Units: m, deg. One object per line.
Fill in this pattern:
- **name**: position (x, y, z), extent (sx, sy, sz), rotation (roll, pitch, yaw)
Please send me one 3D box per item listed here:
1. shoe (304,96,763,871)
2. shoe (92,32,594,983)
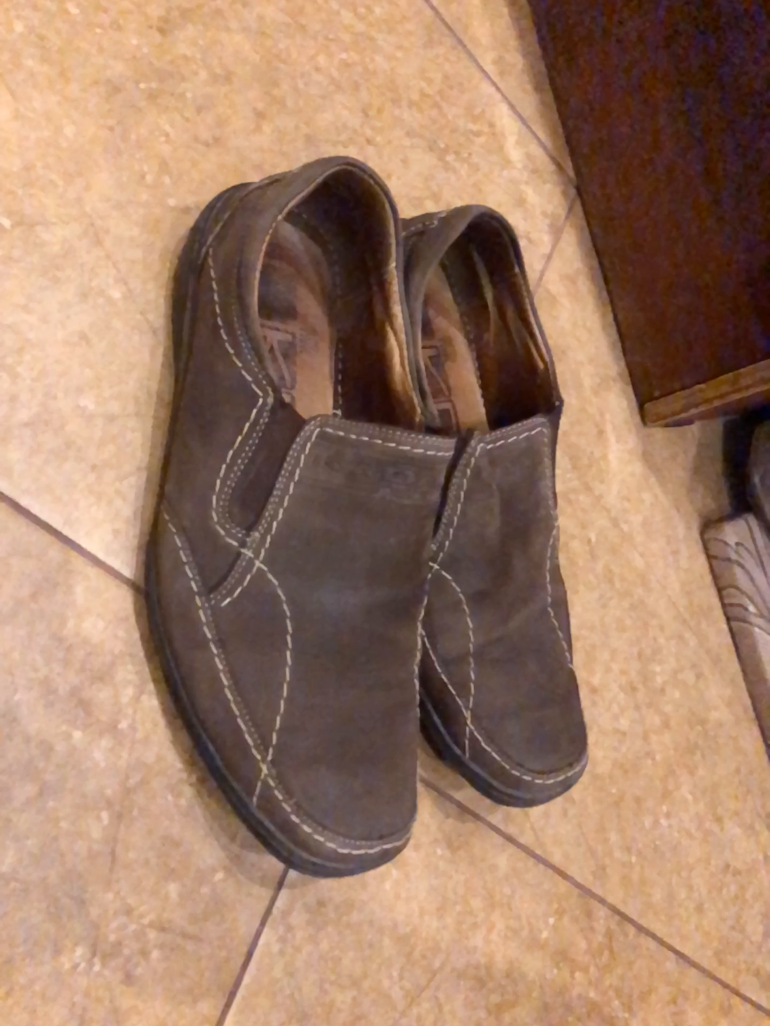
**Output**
- **shoe**: position (0.065, -0.014, 0.391), extent (0.121, 0.090, 0.300), rotation (-6, 82, -40)
- **shoe**: position (-0.021, -0.007, 0.333), extent (0.121, 0.090, 0.300), rotation (-4, 80, -39)
